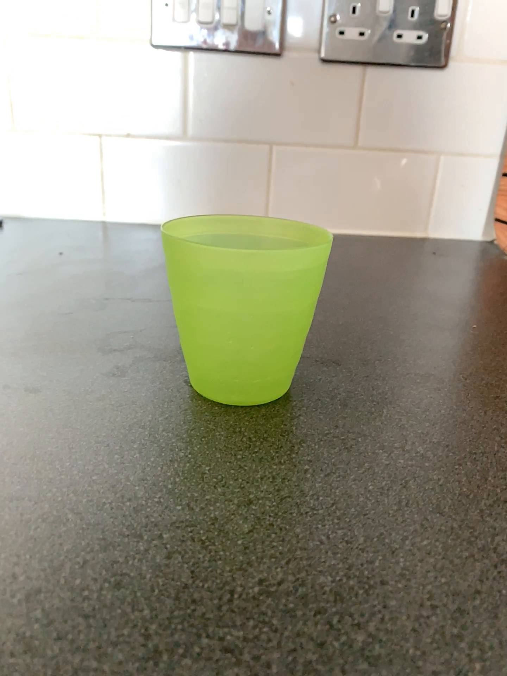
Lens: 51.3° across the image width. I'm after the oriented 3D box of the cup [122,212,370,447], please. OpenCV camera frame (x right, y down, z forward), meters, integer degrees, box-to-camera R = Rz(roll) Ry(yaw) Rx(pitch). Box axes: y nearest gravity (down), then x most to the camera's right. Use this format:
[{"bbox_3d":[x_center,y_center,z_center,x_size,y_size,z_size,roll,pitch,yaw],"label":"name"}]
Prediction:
[{"bbox_3d":[-0.008,-0.013,0.264,0.090,0.081,0.078,-12,28,-33],"label":"cup"}]
